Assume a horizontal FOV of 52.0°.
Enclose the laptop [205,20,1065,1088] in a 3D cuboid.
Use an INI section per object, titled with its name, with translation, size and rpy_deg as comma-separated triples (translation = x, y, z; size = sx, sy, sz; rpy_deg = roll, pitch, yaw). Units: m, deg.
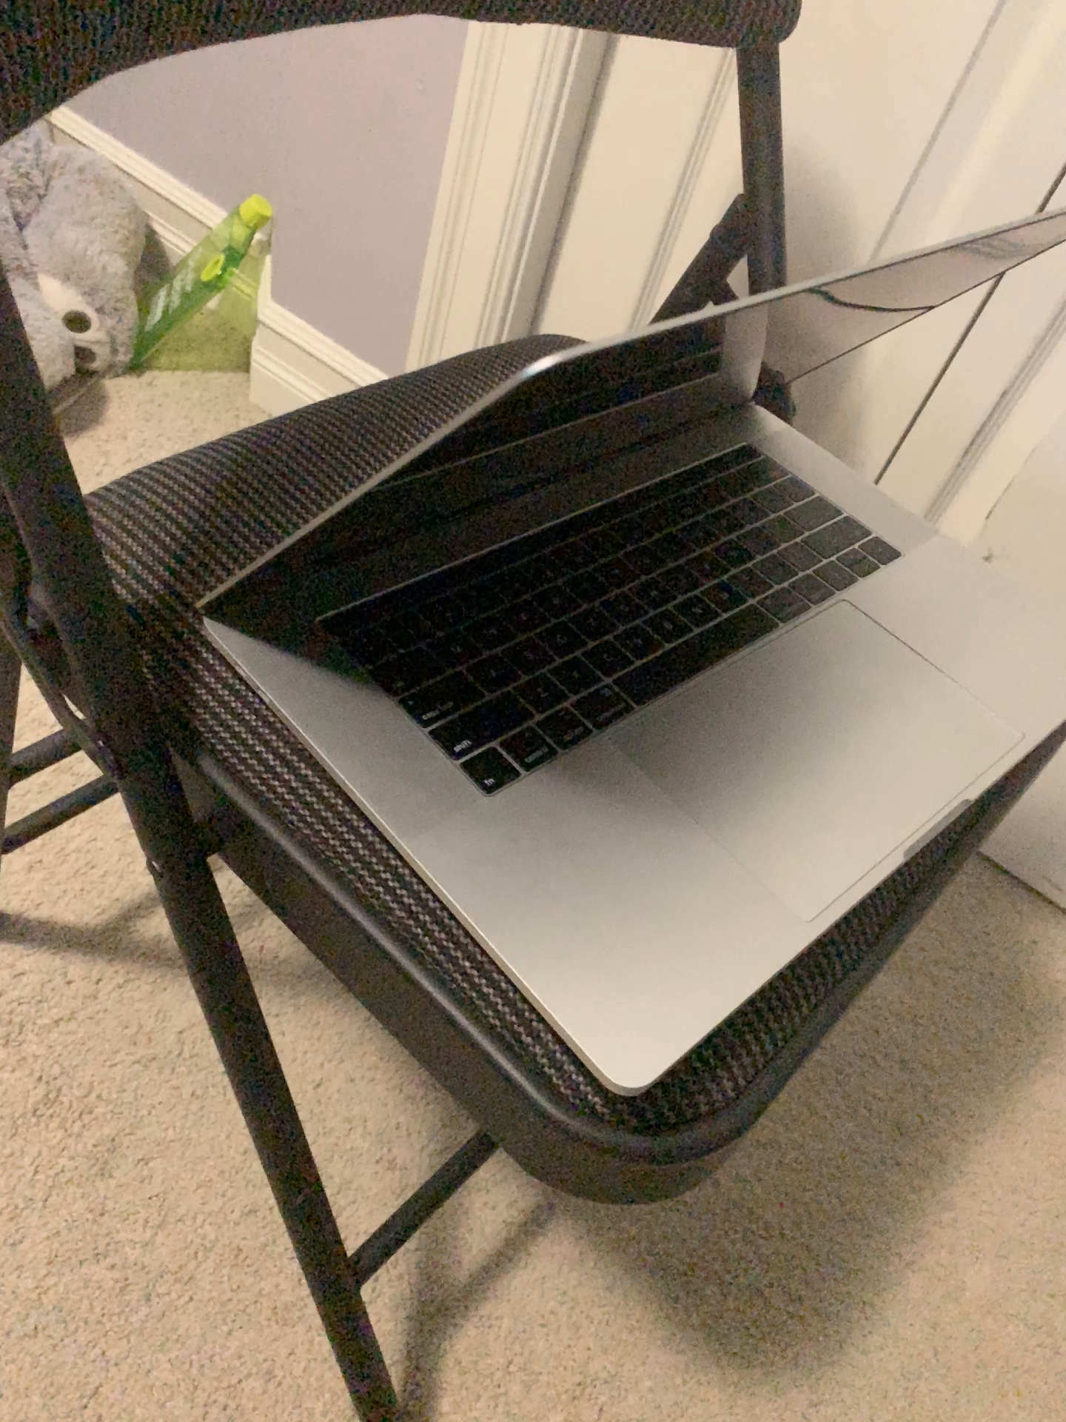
[laptop]
translation = 0.097, -0.091, 0.388
size = 0.335, 0.189, 0.231
rpy_deg = -28, 61, -34
